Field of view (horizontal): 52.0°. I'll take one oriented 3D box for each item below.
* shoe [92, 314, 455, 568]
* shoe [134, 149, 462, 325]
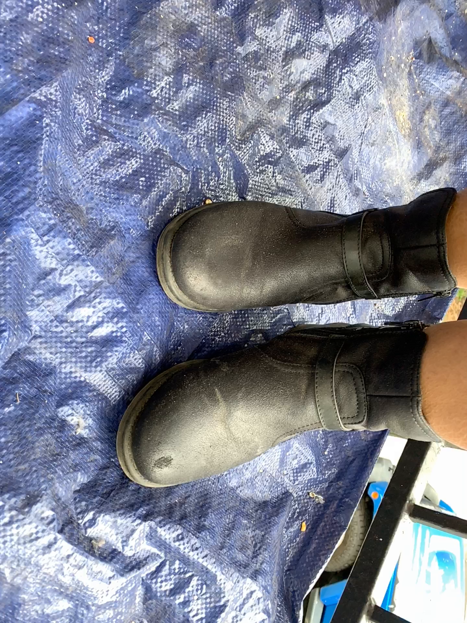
[{"bbox_3d":[0.051,0.063,0.365,0.282,0.109,0.110,-3,92,-42],"label":"shoe"},{"bbox_3d":[0.072,-0.042,0.414,0.282,0.129,0.100,0,90,-42],"label":"shoe"}]
